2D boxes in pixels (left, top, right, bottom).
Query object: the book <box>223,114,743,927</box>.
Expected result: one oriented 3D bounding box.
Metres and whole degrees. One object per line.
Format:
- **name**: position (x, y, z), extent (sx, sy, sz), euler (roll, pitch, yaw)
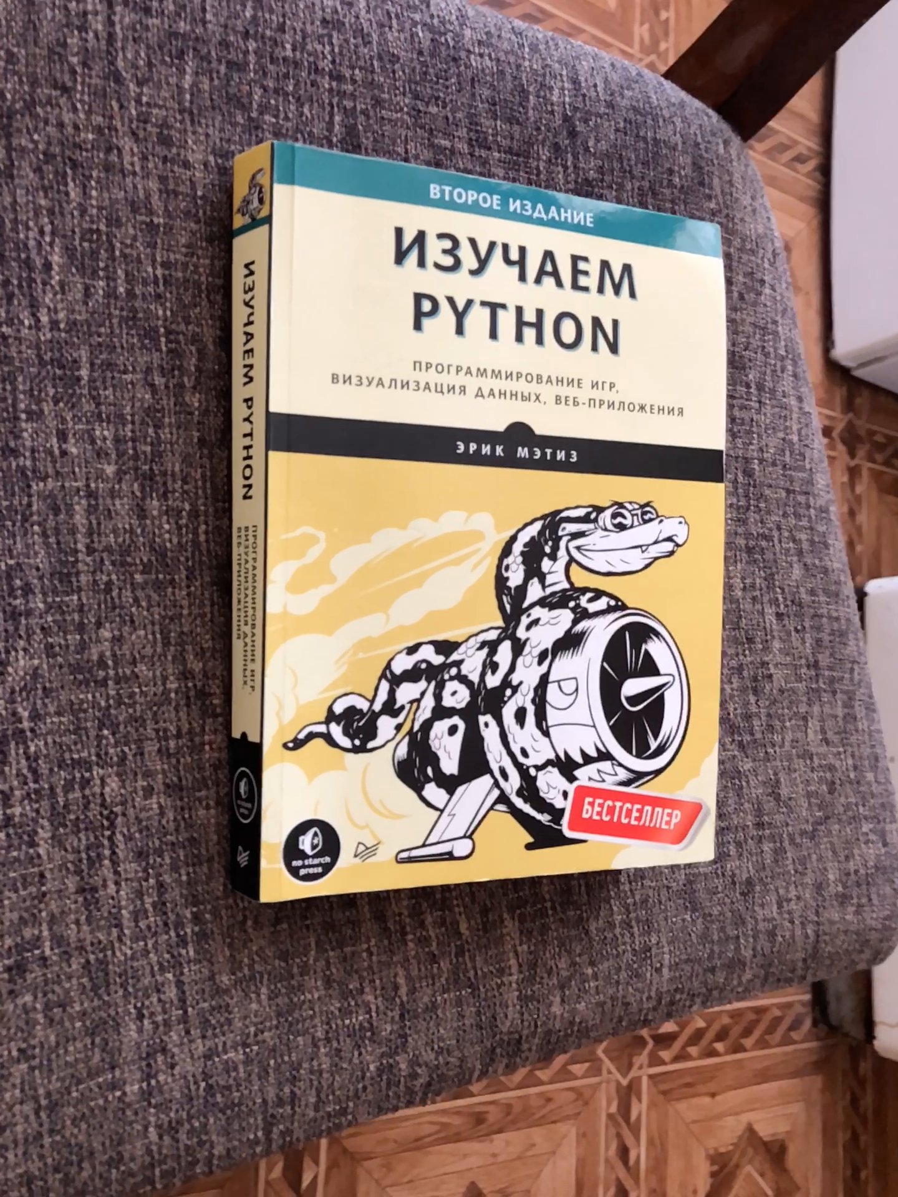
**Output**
- **book**: position (0.015, -0.022, 0.330), extent (0.168, 0.040, 0.233), euler (2, 86, -22)
